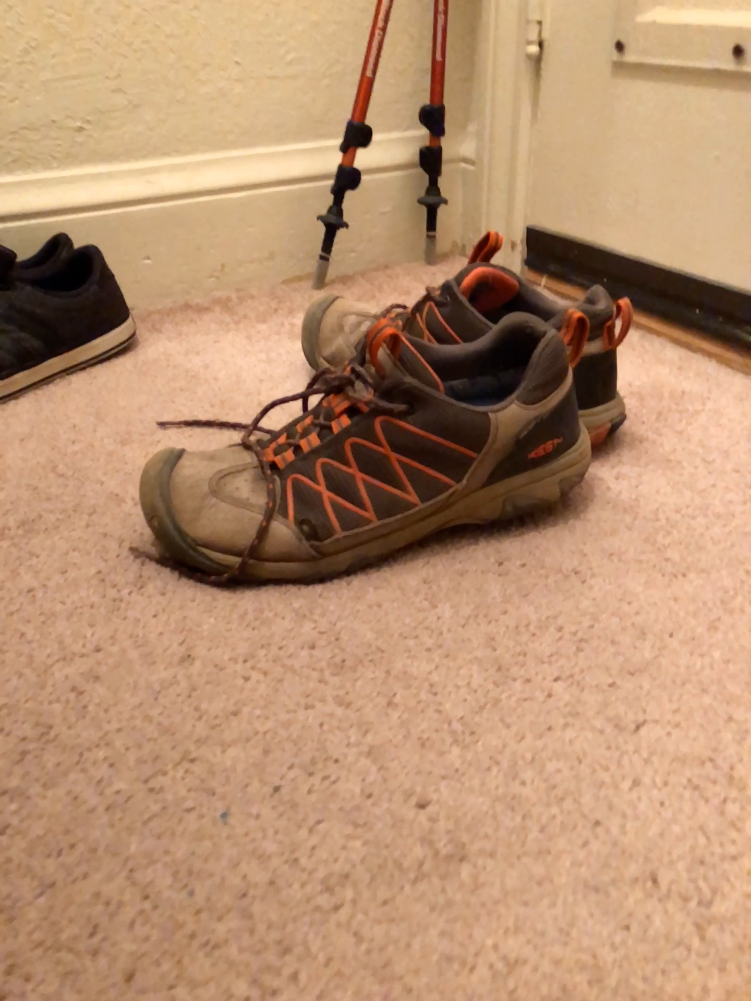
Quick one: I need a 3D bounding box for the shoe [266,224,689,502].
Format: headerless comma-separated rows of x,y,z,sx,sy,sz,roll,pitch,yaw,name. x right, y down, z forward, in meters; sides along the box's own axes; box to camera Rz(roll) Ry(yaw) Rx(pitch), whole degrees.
0.071,-0.125,0.662,0.301,0.129,0.120,20,38,31,shoe

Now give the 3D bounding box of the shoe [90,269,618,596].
-0.014,-0.048,0.500,0.270,0.129,0.121,-7,32,-8,shoe
